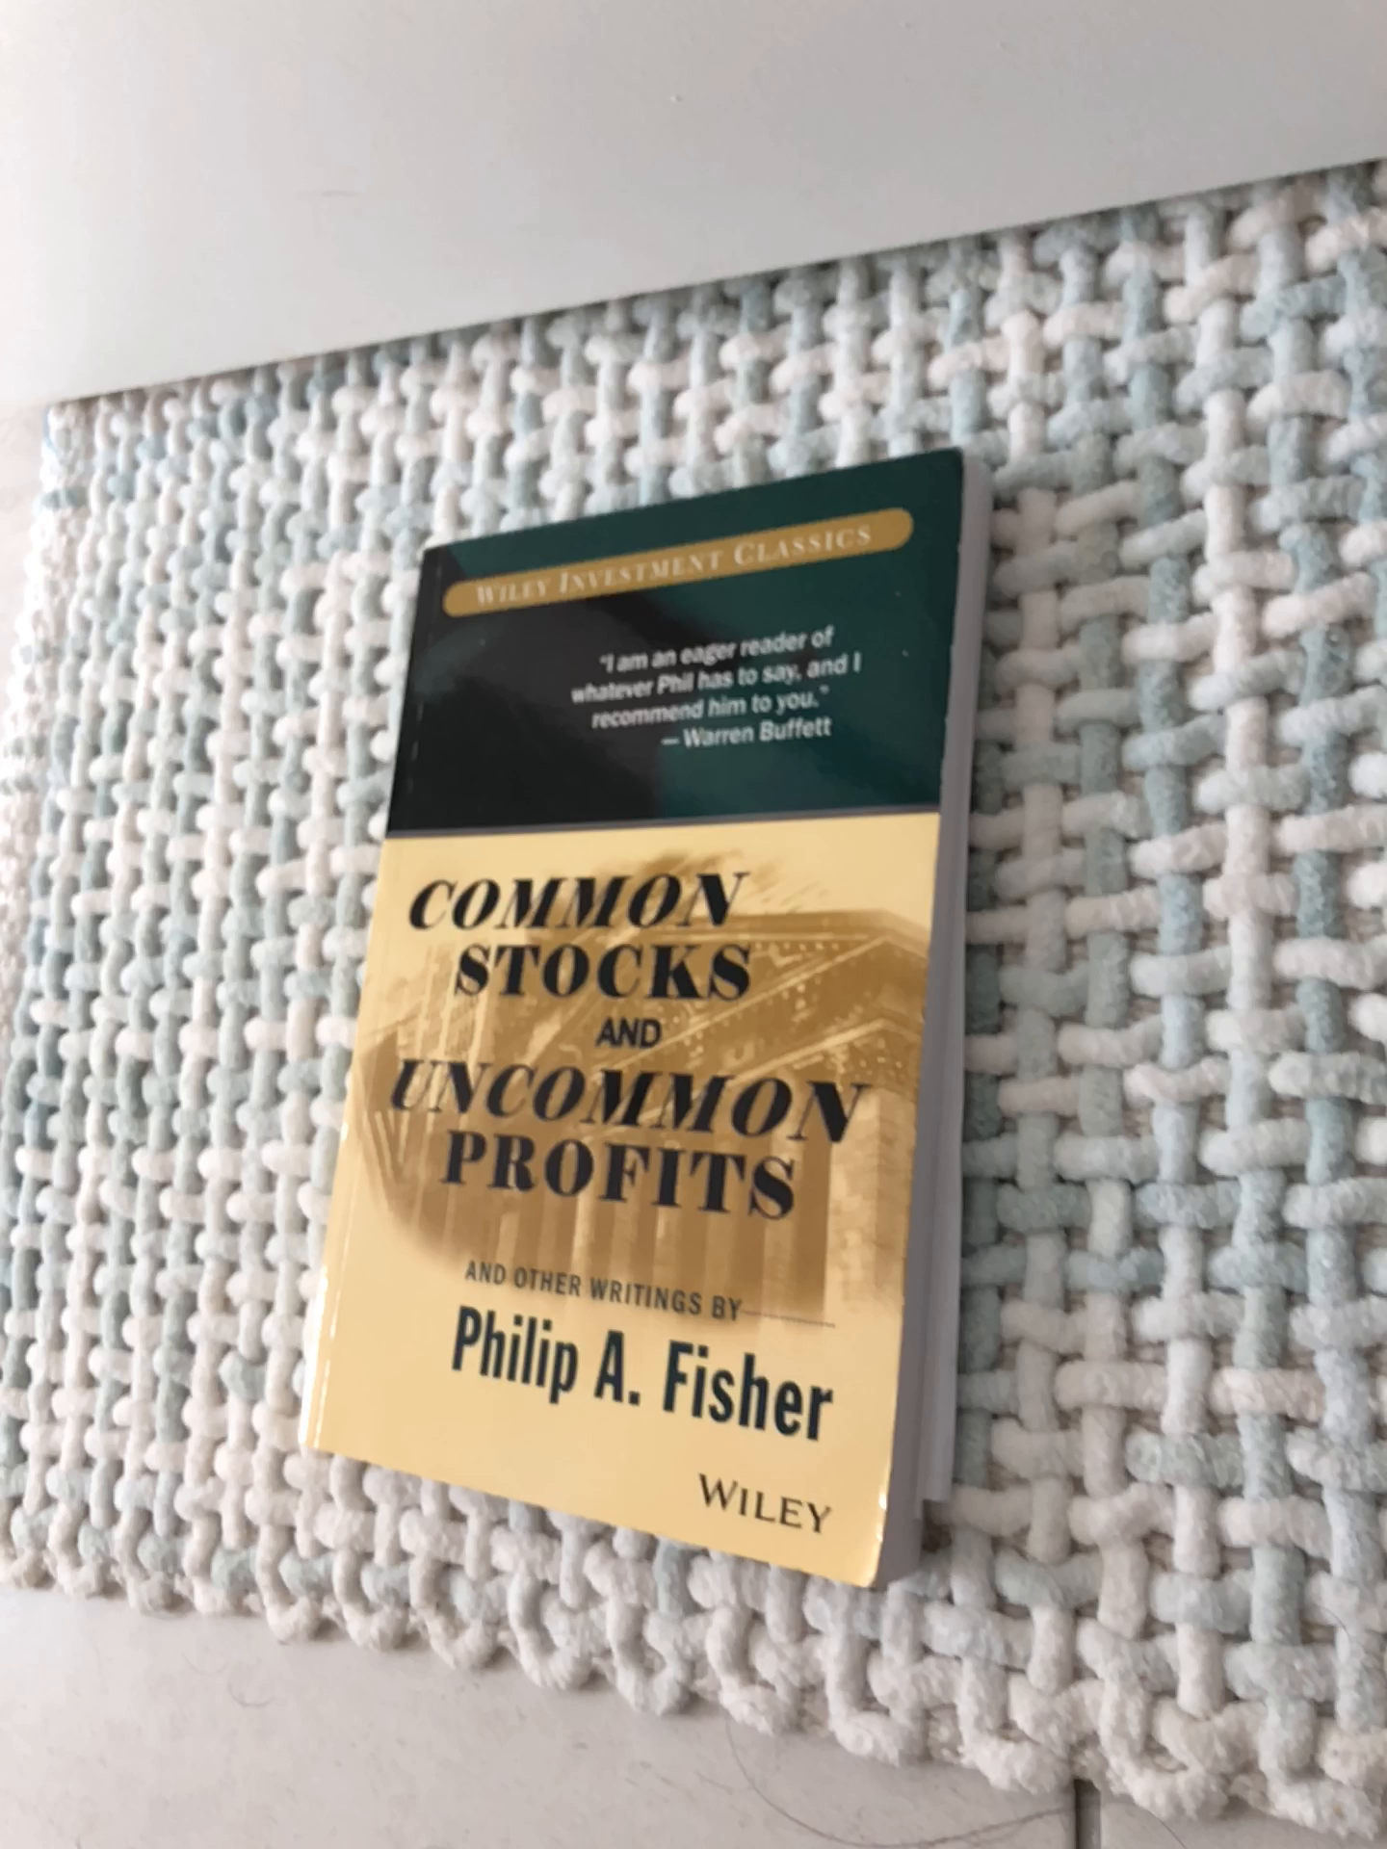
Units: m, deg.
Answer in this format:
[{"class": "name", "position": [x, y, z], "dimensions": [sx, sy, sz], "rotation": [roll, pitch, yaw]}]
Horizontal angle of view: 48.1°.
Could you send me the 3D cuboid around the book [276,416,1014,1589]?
[{"class": "book", "position": [-0.015, 0.011, 0.379], "dimensions": [0.167, 0.026, 0.247], "rotation": [0, 78, 33]}]
